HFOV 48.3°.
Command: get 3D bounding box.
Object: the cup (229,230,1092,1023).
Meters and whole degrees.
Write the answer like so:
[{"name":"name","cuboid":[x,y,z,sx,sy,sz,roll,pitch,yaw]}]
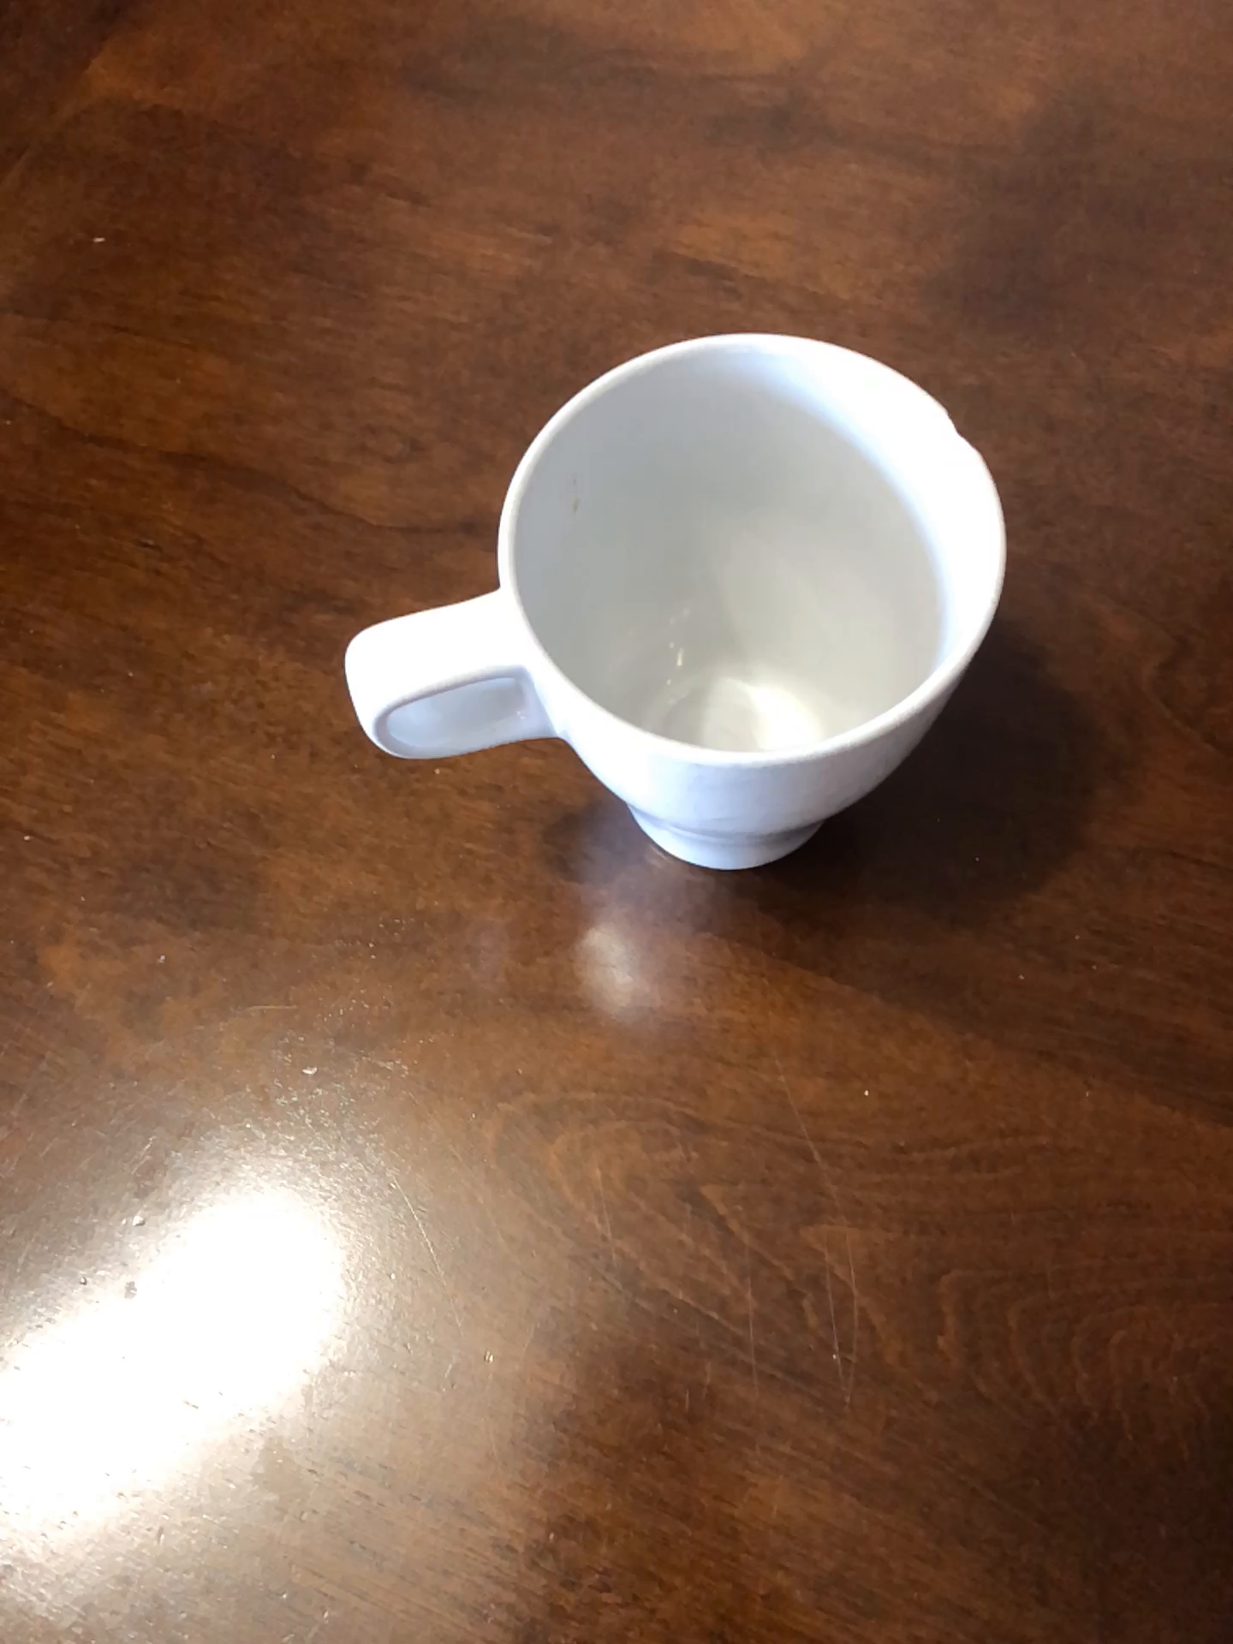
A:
[{"name":"cup","cuboid":[0.007,-0.031,0.272,0.120,0.100,0.080,-21,68,-6]}]
